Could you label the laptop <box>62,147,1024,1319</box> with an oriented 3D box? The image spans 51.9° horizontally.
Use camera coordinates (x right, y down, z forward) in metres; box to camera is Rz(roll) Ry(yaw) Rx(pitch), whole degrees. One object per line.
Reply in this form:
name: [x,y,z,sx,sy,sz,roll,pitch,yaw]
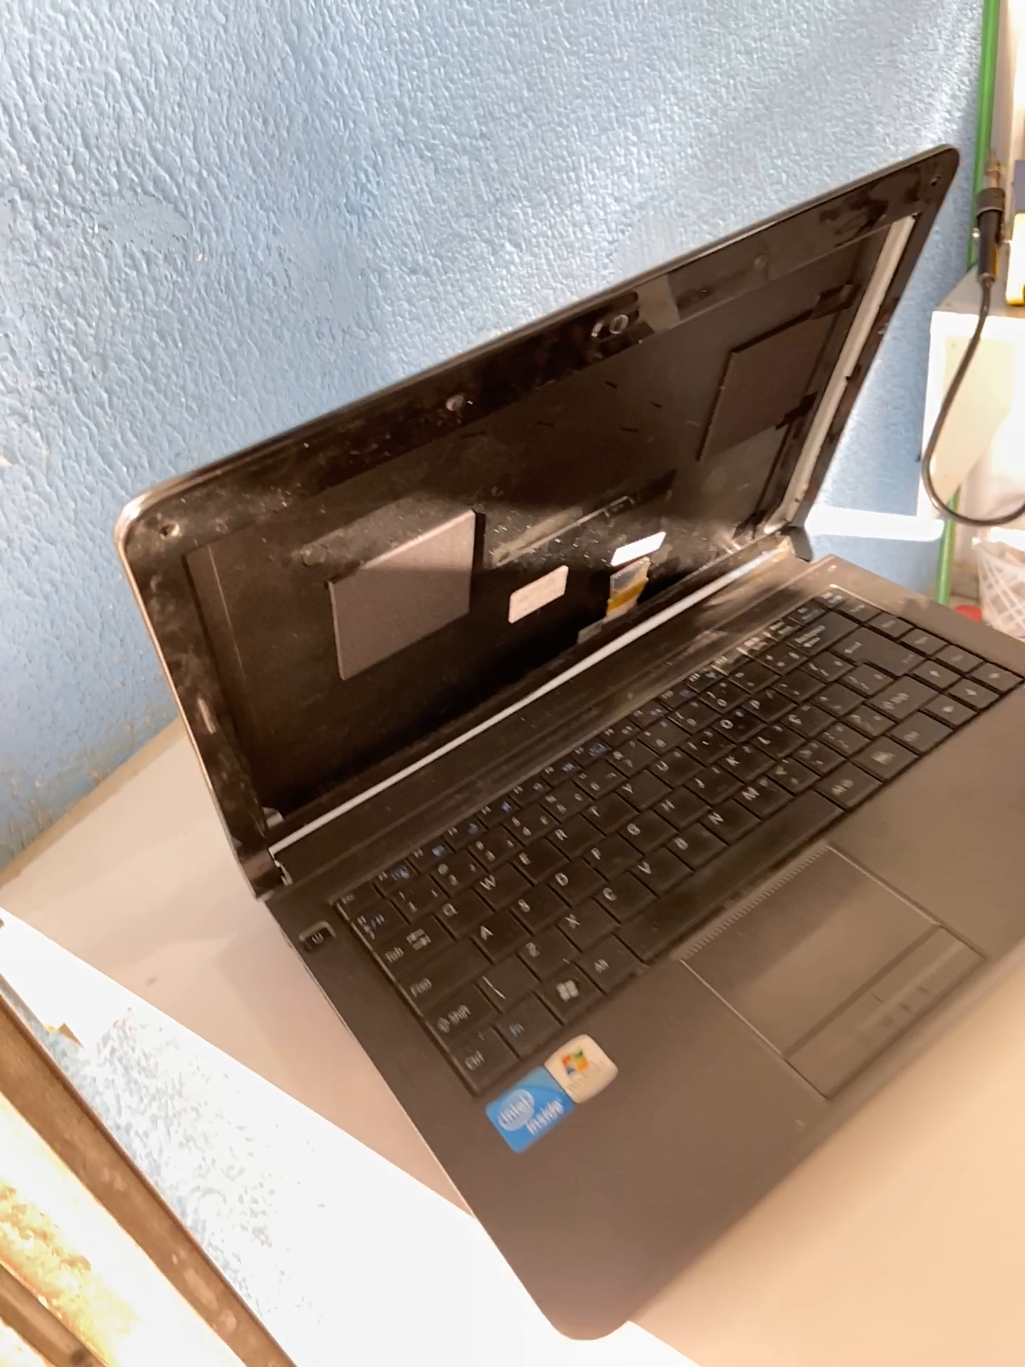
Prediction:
laptop: [0.072,-0.022,0.372,0.331,0.206,0.206,-30,41,-21]
